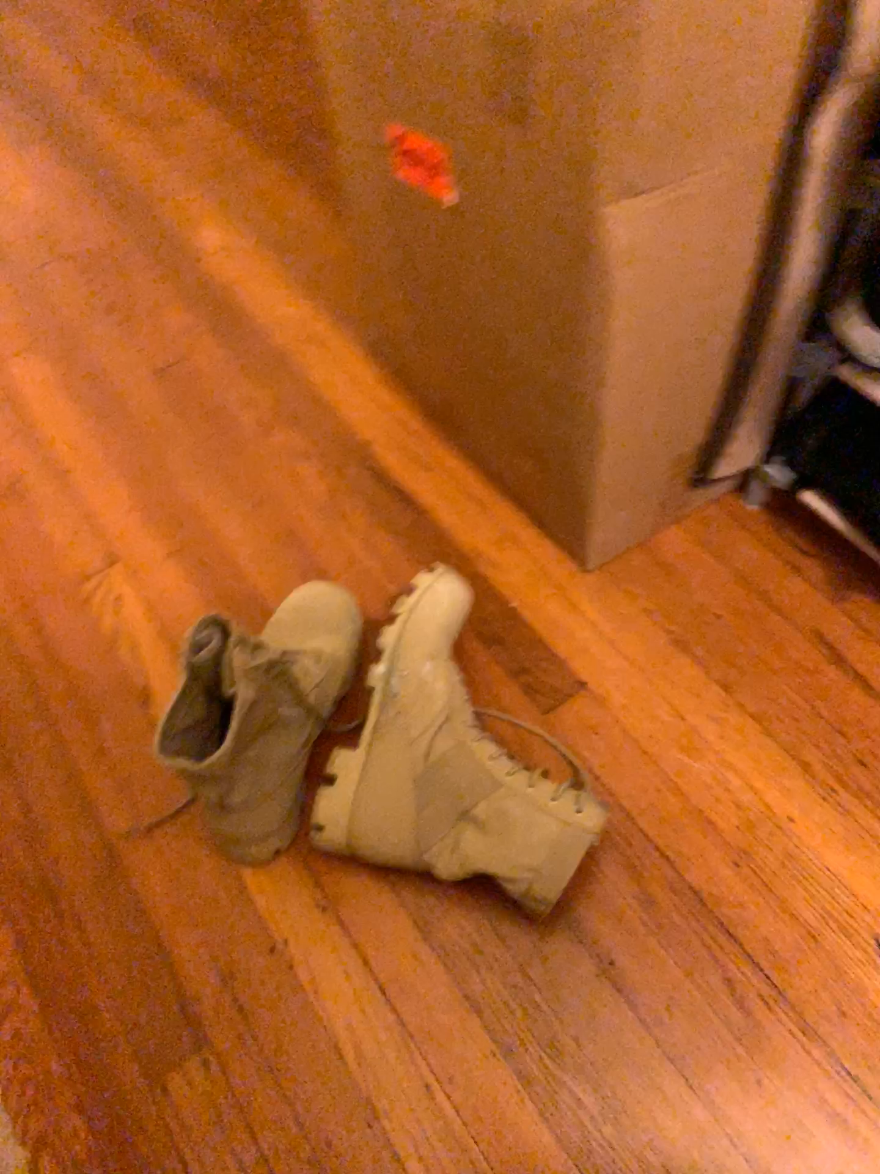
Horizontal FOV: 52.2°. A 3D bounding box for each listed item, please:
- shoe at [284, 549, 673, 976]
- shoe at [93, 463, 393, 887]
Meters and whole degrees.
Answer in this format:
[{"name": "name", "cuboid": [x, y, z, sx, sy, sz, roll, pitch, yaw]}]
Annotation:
[{"name": "shoe", "cuboid": [0.043, 0.143, 0.784, 0.260, 0.110, 0.291, 14, 59, 6]}, {"name": "shoe", "cuboid": [-0.146, 0.075, 0.777, 0.120, 0.199, 0.291, 9, 58, 10]}]
